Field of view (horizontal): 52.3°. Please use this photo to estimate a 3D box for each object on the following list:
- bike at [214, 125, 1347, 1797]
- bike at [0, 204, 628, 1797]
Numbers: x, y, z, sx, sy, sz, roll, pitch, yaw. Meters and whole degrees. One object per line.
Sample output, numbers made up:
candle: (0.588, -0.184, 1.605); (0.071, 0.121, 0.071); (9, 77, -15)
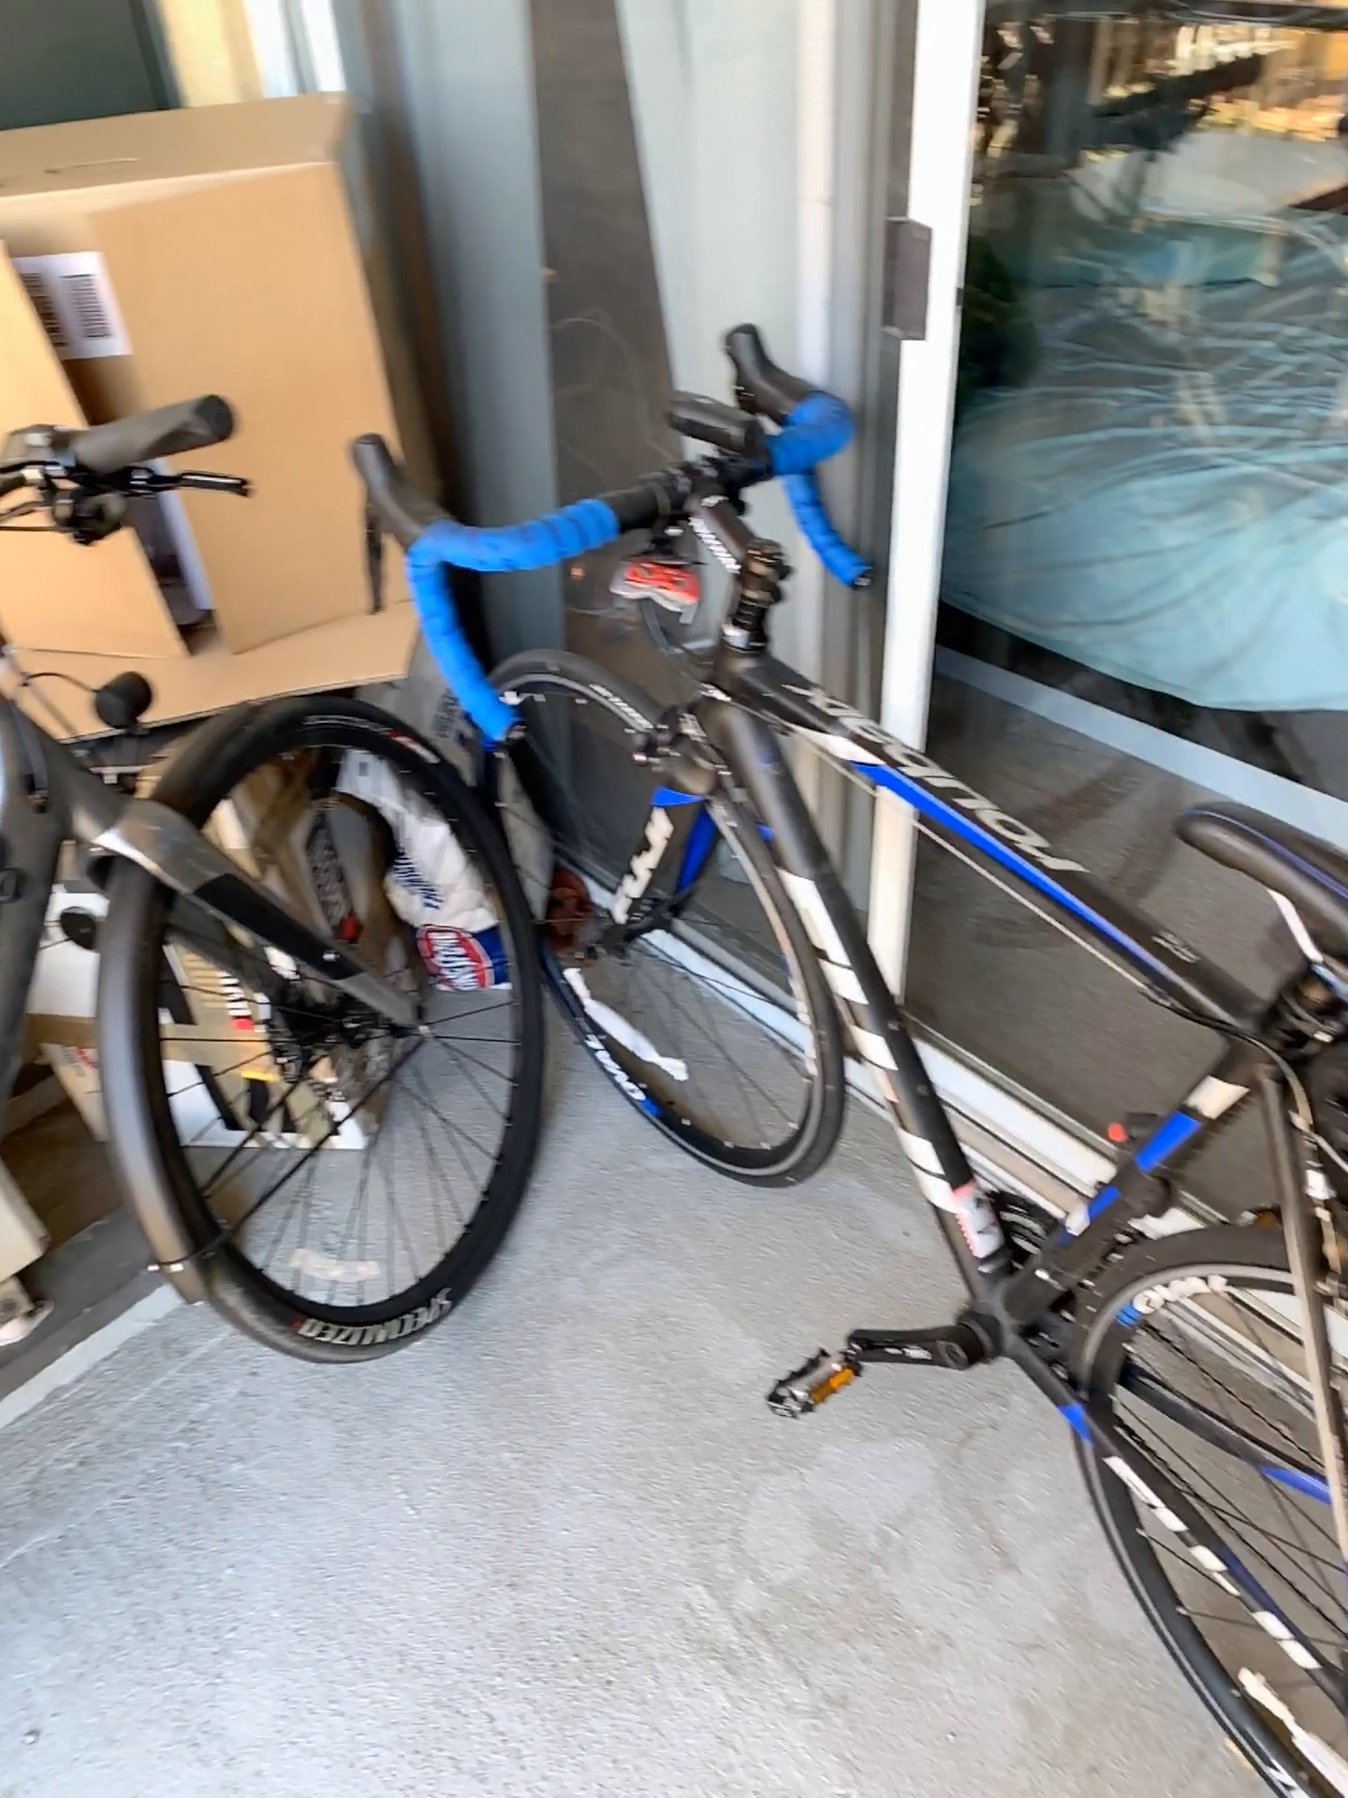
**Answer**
bike: (0.255, 0.138, 1.079); (0.363, 0.932, 1.508); (-29, 50, -26)
bike: (-0.797, 0.178, 1.110); (0.624, 0.971, 1.586); (25, 47, 30)
